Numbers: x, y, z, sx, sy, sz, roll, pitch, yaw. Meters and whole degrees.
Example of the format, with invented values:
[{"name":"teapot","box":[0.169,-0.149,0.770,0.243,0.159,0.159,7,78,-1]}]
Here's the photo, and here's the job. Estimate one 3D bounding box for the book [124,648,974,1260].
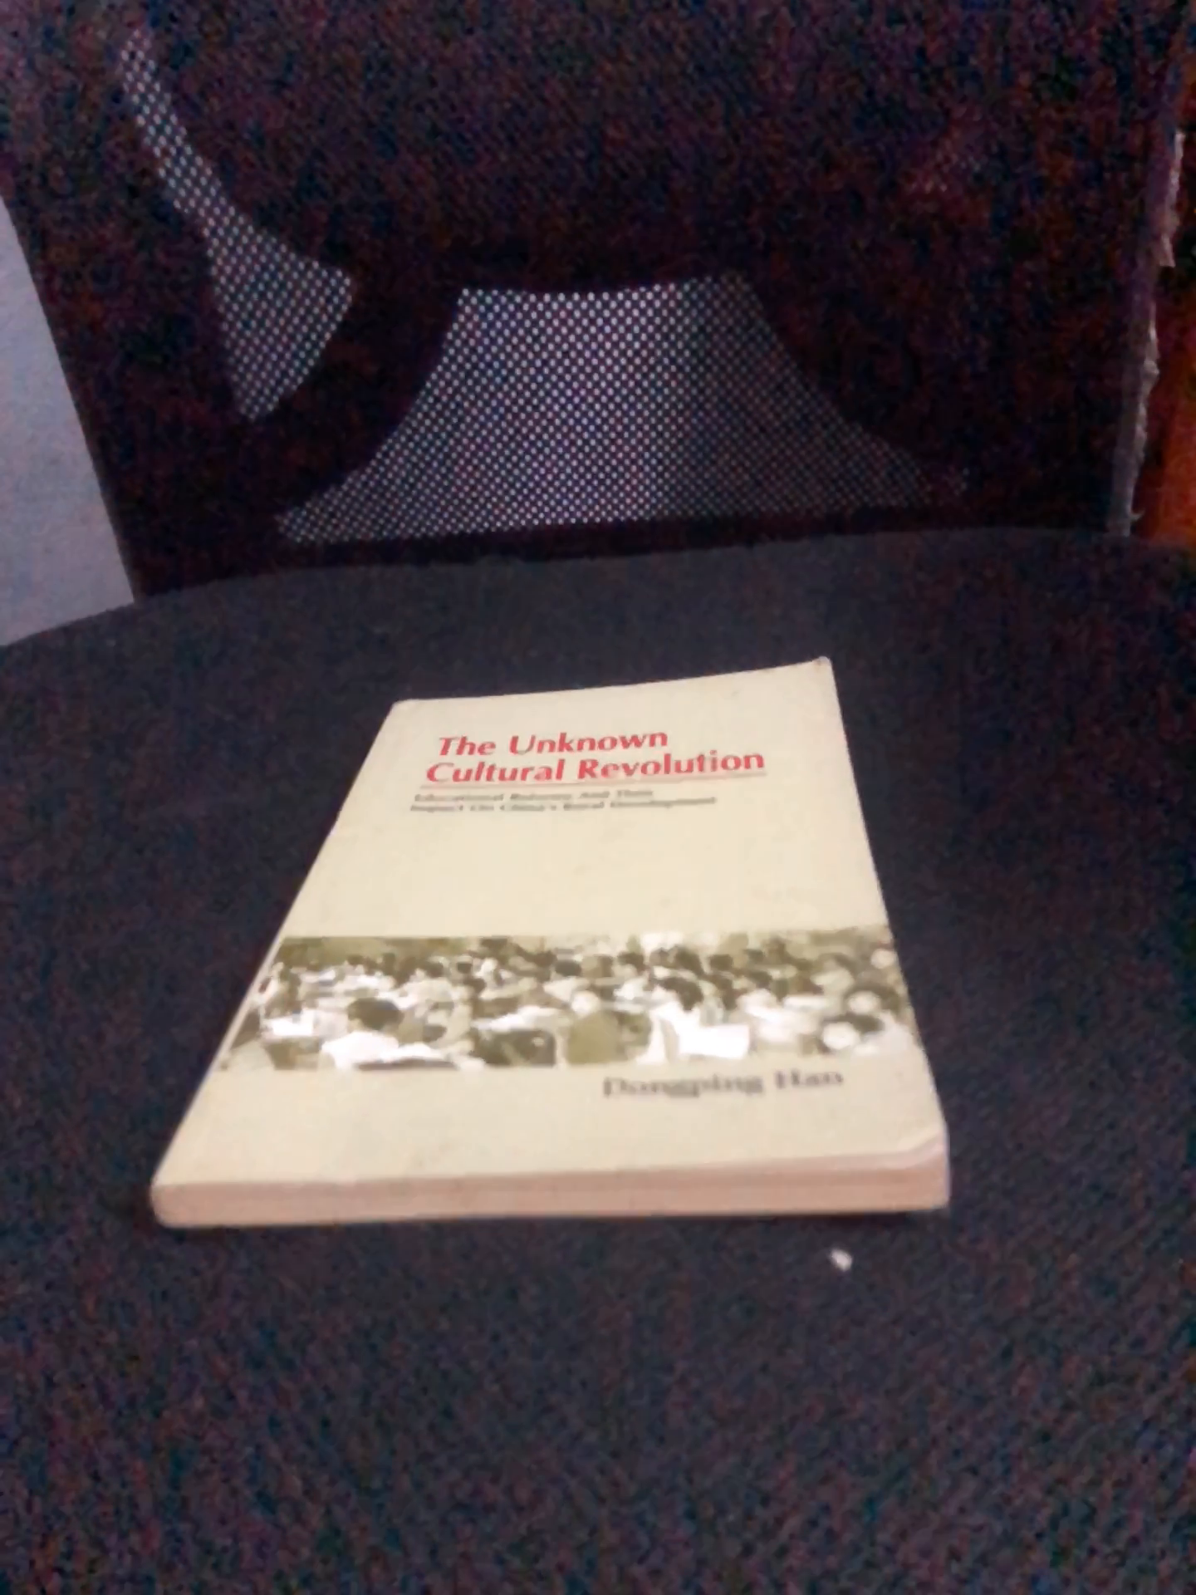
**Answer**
[{"name":"book","box":[-0.004,0.021,0.330,0.154,0.017,0.215,-4,31,6]}]
